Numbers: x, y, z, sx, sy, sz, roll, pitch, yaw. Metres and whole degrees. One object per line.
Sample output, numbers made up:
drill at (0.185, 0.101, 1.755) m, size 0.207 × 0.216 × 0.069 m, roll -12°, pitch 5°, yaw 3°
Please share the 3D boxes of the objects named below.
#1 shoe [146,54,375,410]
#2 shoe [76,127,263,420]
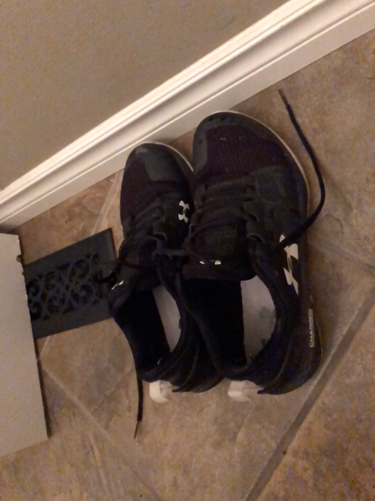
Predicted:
shoe at (0.059, -0.010, 0.354) m, size 0.110 × 0.100 × 0.250 m, roll -19°, pitch 75°, yaw 32°
shoe at (-0.022, 0.026, 0.421) m, size 0.110 × 0.100 × 0.250 m, roll -19°, pitch 75°, yaw 32°
